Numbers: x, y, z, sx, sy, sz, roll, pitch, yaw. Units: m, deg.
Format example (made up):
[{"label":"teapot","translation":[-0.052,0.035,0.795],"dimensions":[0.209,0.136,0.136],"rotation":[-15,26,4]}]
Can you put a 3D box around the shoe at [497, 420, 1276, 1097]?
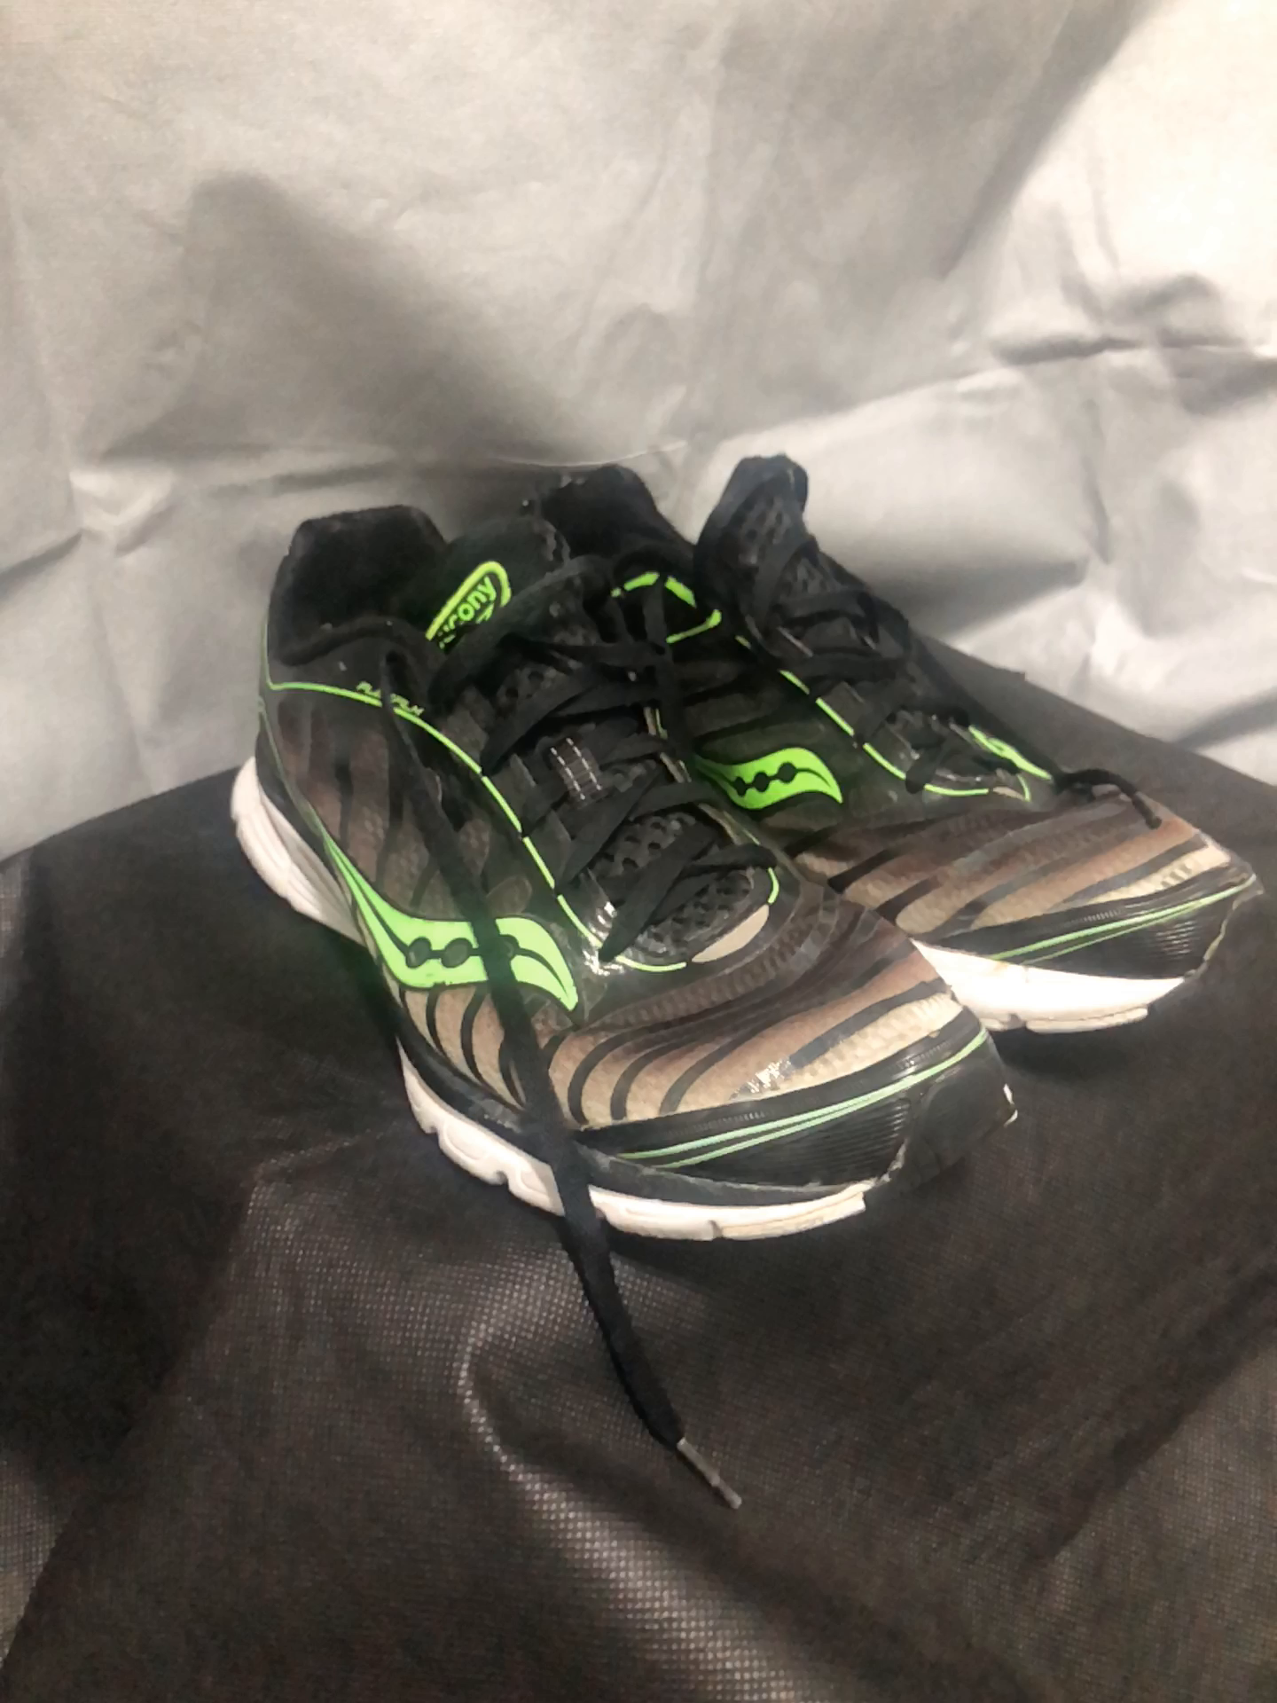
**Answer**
[{"label":"shoe","translation":[0.071,-0.047,0.406],"dimensions":[0.114,0.097,0.225],"rotation":[-21,35,-33]}]

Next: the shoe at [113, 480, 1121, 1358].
[{"label":"shoe","translation":[-0.021,-0.010,0.344],"dimensions":[0.117,0.096,0.225],"rotation":[-21,35,-33]}]
